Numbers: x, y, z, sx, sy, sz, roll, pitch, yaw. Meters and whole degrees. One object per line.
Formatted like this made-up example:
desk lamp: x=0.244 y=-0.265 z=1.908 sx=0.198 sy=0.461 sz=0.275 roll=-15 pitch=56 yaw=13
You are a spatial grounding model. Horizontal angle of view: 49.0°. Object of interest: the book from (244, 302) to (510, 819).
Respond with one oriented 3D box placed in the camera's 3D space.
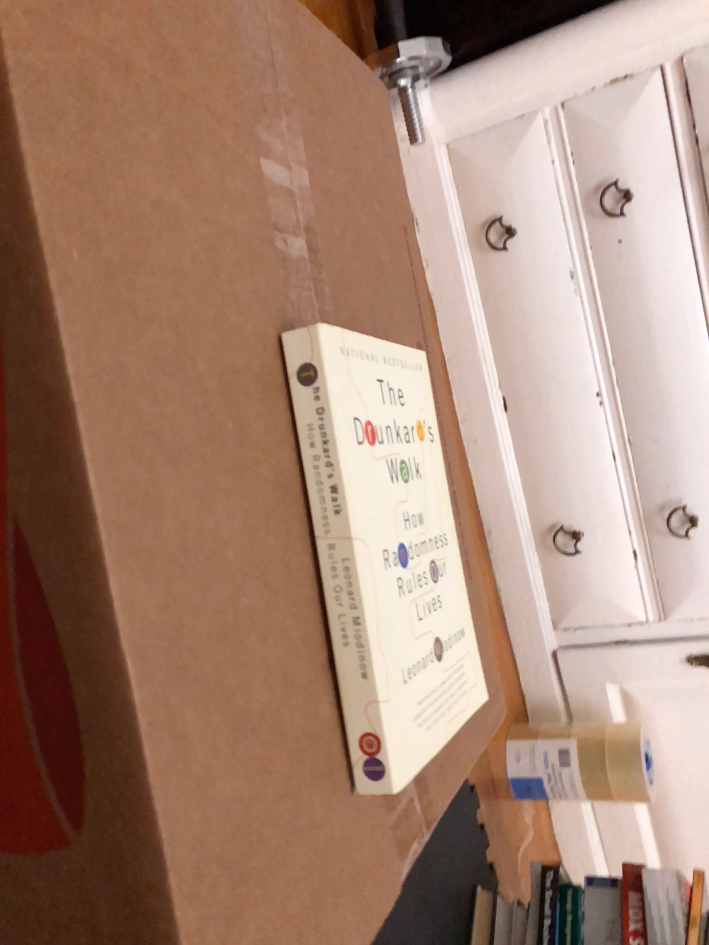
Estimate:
book: x=0.020 y=0.034 z=0.383 sx=0.141 sy=0.040 sz=0.210 roll=-7 pitch=86 yaw=-63
